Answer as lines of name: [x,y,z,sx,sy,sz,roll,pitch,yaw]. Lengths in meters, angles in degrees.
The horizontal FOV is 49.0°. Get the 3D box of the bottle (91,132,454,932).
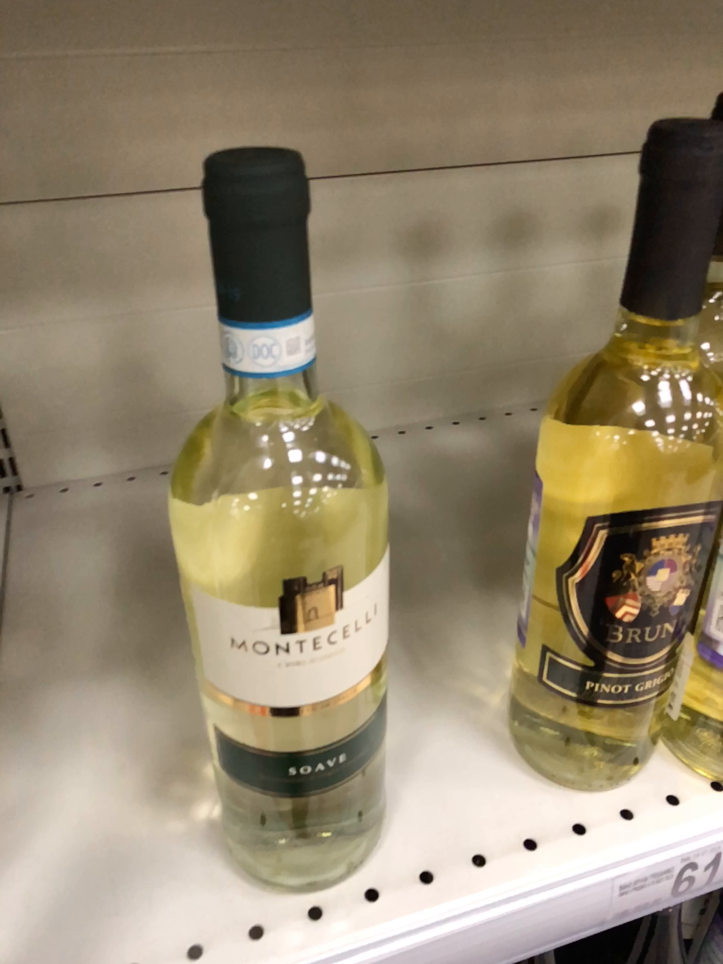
bottle: [-0.026,0.036,0.286,0.080,0.284,0.070,-12,34,-18]
